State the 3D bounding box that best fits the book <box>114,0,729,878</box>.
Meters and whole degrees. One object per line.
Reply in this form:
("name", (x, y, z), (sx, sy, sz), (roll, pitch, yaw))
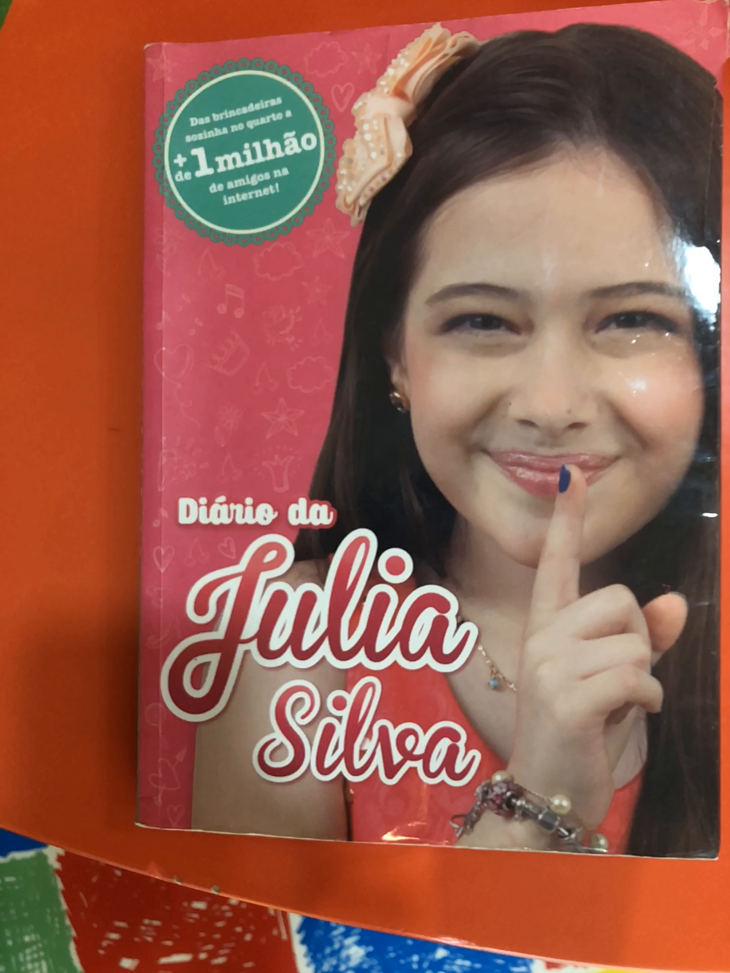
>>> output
("book", (0.017, -0.018, 0.236), (0.170, 0.020, 0.241), (1, 89, 5))
